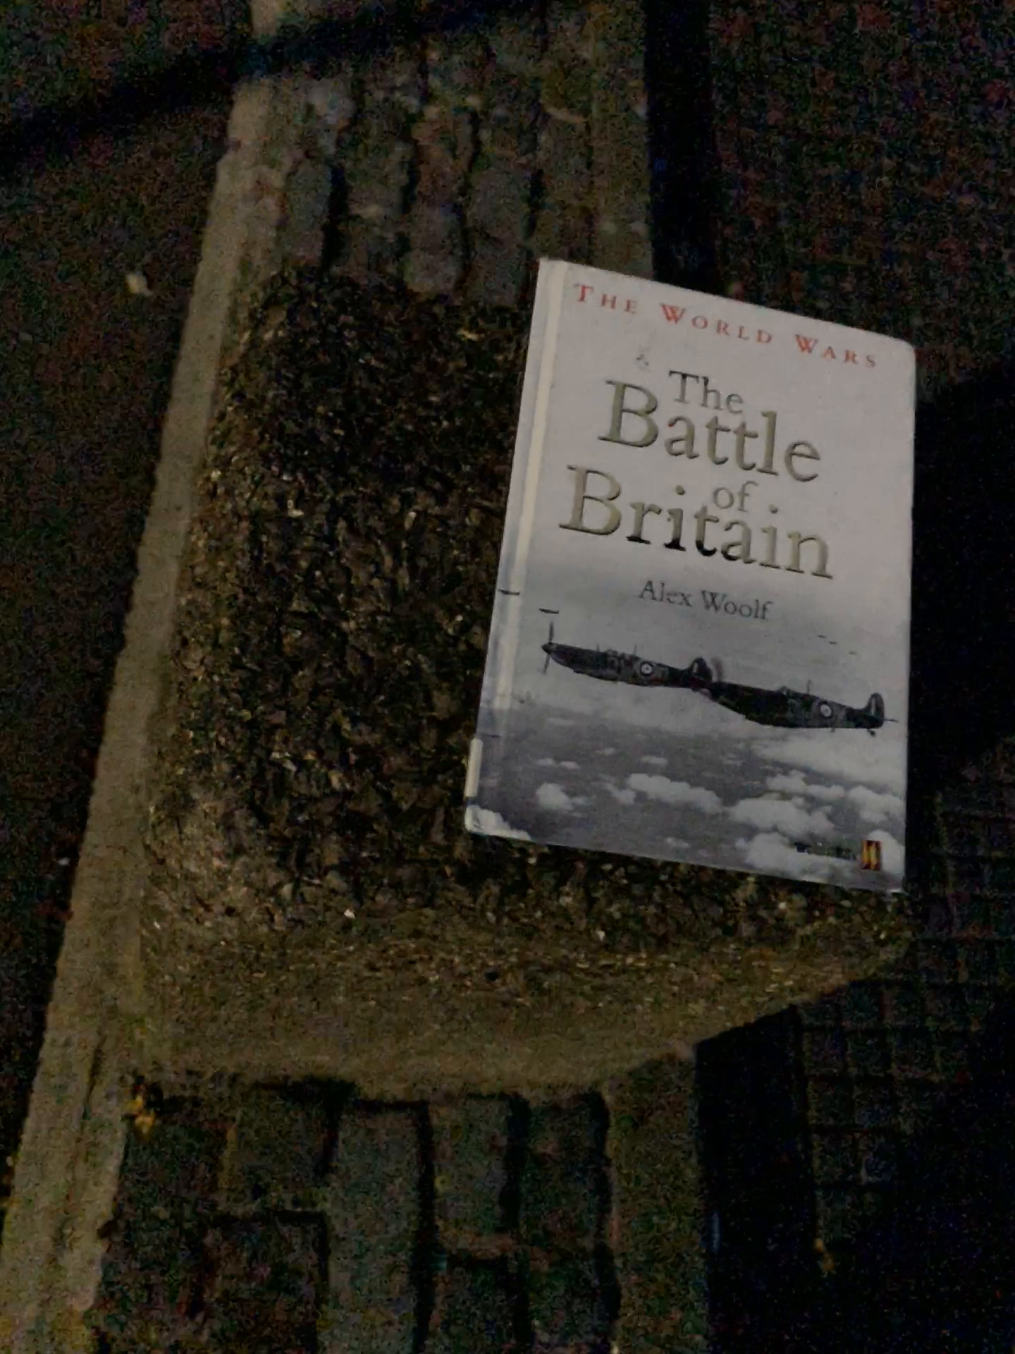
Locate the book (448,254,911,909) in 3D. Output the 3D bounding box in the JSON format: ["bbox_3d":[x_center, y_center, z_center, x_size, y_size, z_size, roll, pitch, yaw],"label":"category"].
[{"bbox_3d":[0.078,-0.042,0.424,0.170,0.020,0.245,10,74,-9],"label":"book"}]
